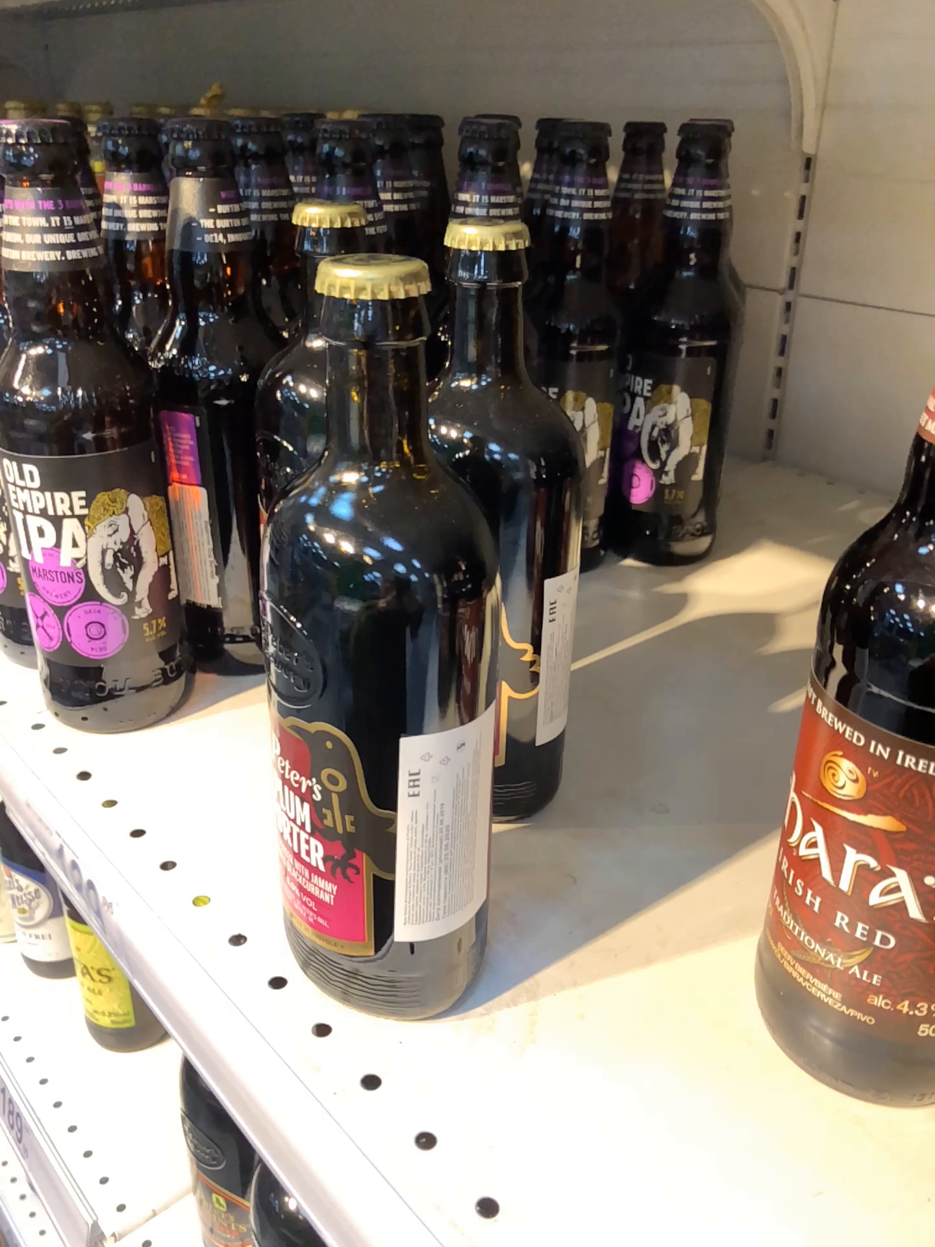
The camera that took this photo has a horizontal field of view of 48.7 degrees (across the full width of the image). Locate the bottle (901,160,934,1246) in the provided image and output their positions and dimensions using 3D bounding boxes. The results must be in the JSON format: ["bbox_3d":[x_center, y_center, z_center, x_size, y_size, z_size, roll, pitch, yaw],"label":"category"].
[{"bbox_3d":[0.141,0.063,0.151,0.069,0.235,0.075,1,26,0],"label":"bottle"}]

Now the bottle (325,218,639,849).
[{"bbox_3d":[0.003,-0.034,0.390,0.079,0.213,0.070,21,32,36],"label":"bottle"}]

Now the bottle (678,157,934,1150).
[{"bbox_3d":[0.115,0.011,0.260,0.069,0.231,0.072,1,26,0],"label":"bottle"}]

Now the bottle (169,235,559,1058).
[{"bbox_3d":[-0.029,0.006,0.293,0.058,0.209,0.082,-18,31,-33],"label":"bottle"}]
